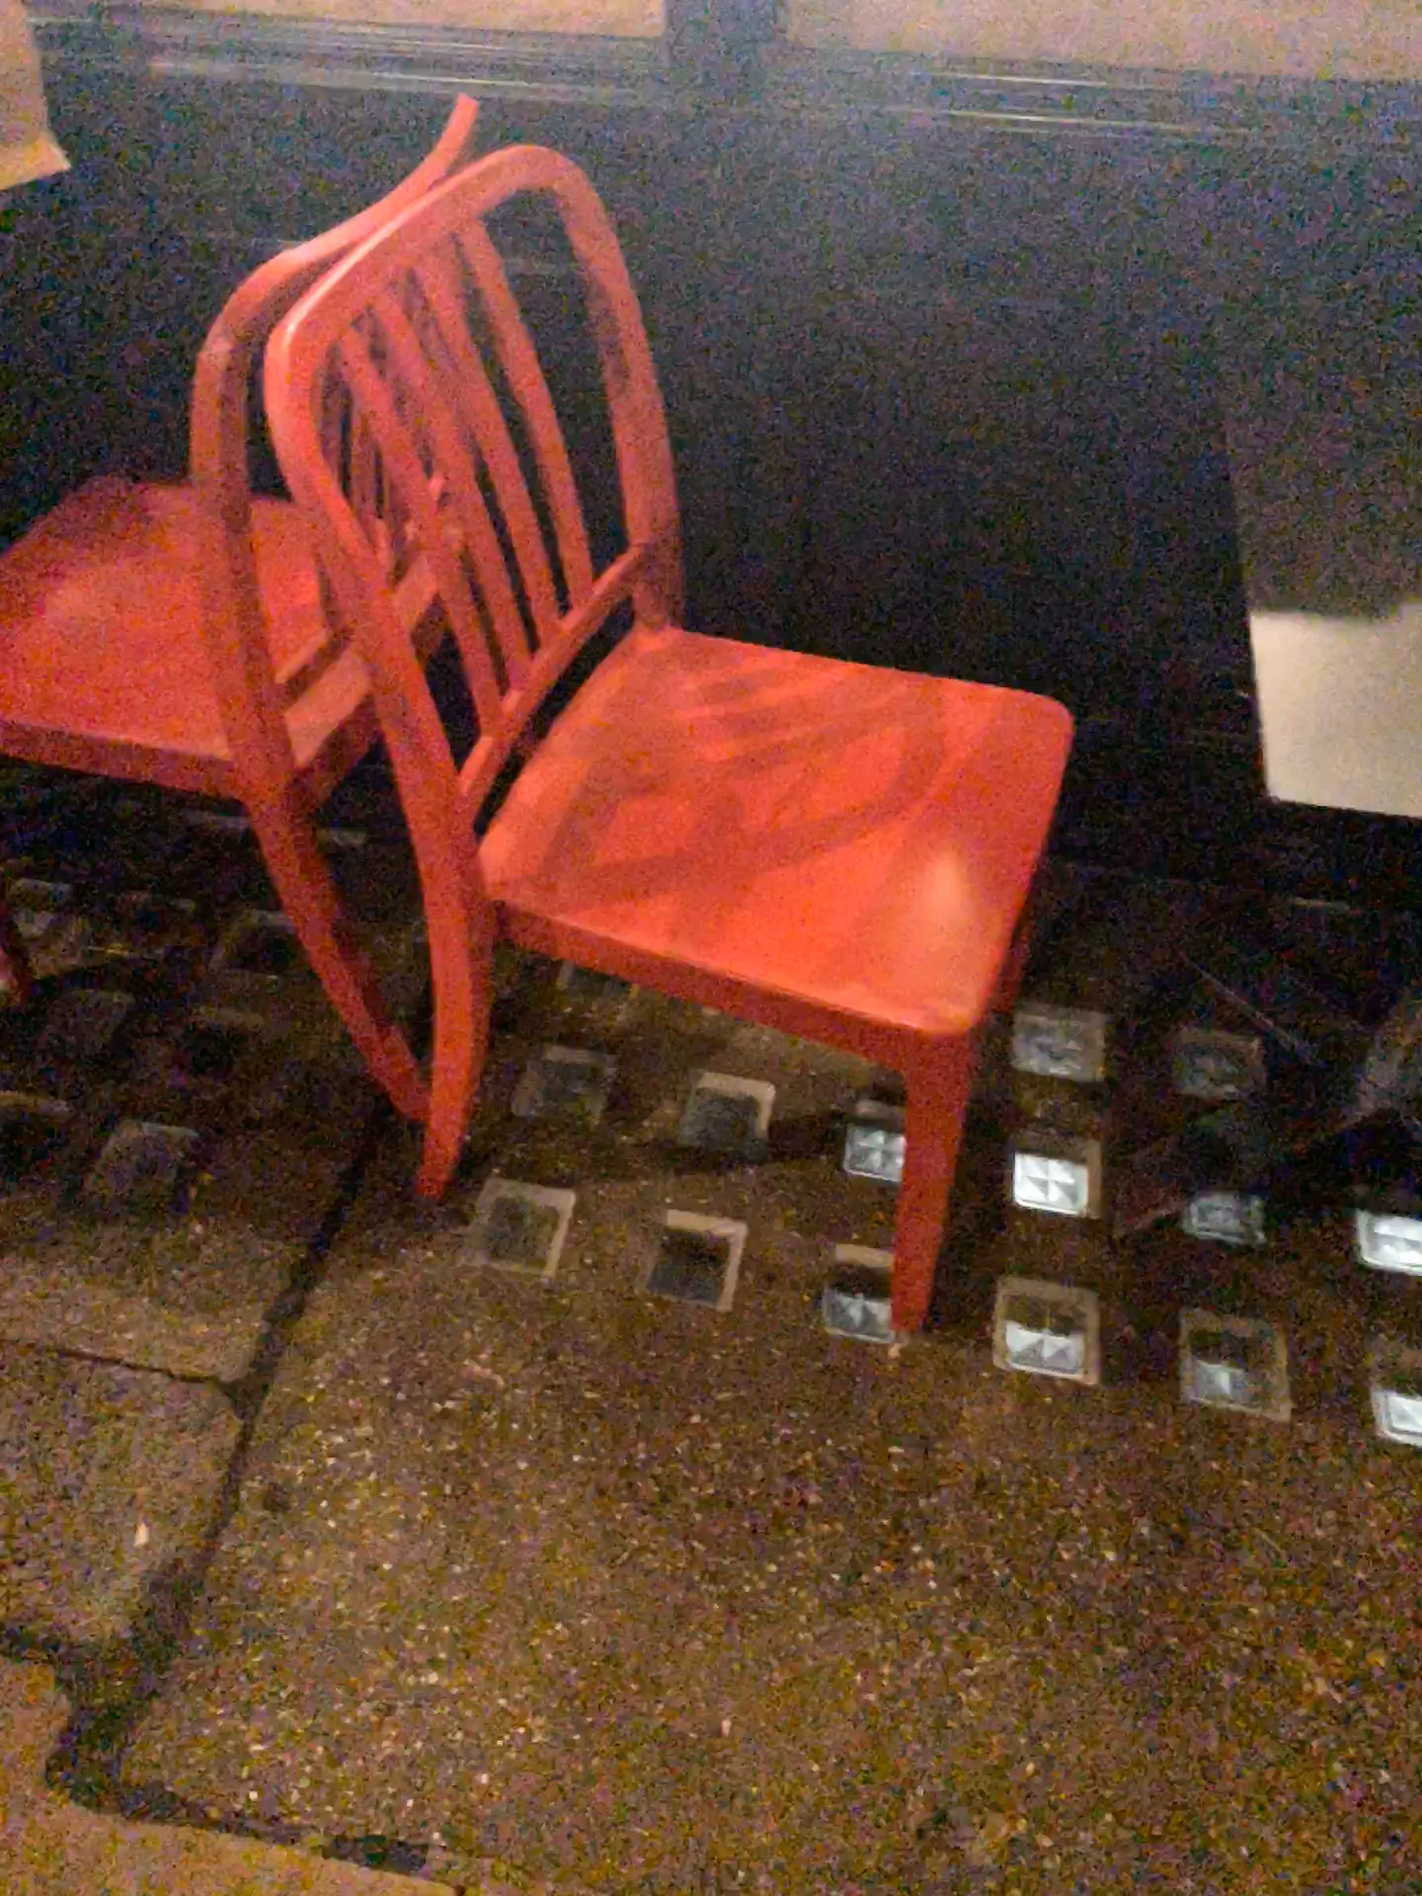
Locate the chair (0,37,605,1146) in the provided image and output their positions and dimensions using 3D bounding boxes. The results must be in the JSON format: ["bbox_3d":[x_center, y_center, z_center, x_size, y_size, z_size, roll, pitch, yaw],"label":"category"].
[{"bbox_3d":[-0.457,-0.326,1.427,0.540,0.851,0.545,9,45,8],"label":"chair"}]

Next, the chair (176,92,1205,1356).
[{"bbox_3d":[0.034,-0.177,1.277,0.560,0.851,0.575,12,46,11],"label":"chair"}]
